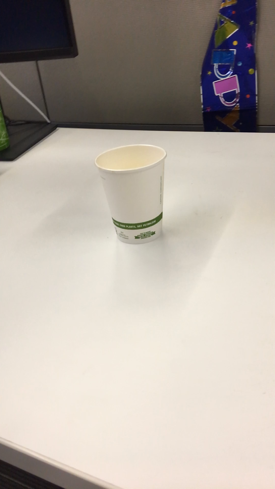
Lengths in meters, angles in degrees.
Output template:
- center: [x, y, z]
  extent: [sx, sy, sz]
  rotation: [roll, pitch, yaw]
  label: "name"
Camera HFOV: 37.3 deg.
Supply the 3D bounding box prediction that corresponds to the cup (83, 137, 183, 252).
- center: [-0.005, -0.066, 0.505]
  extent: [0.080, 0.100, 0.090]
  rotation: [-22, 35, -24]
  label: "cup"
